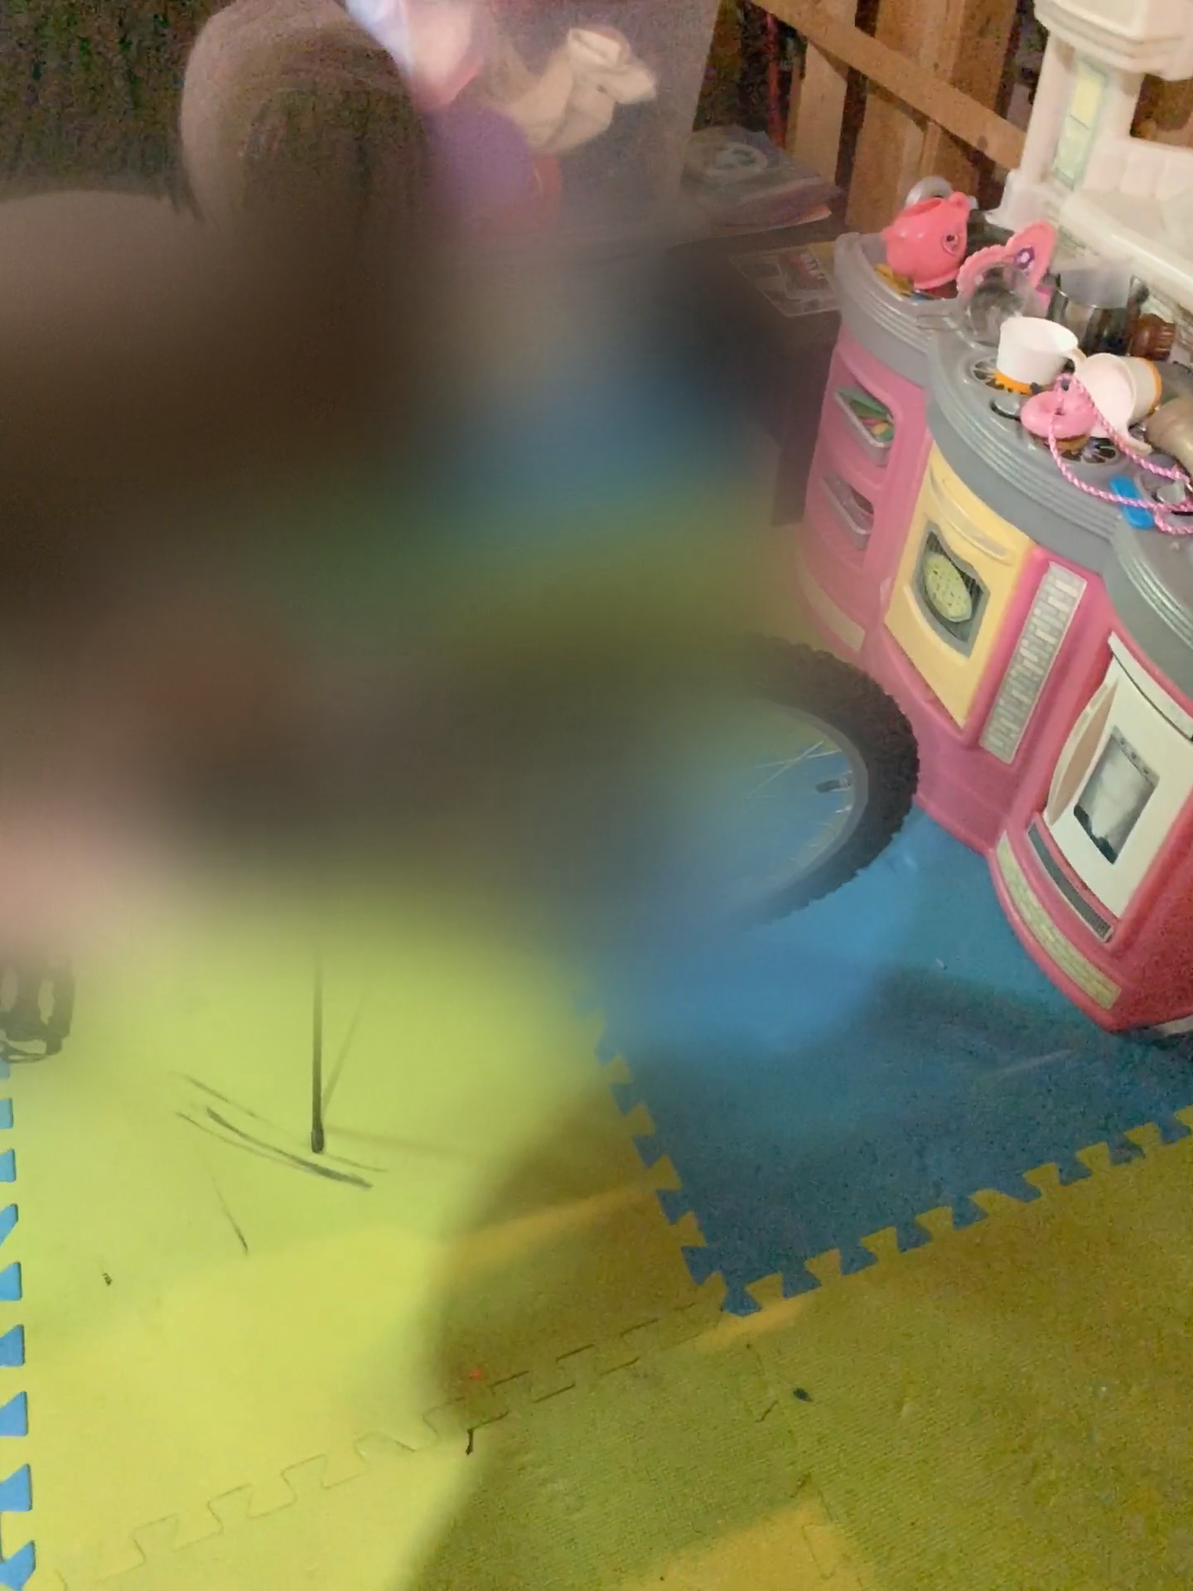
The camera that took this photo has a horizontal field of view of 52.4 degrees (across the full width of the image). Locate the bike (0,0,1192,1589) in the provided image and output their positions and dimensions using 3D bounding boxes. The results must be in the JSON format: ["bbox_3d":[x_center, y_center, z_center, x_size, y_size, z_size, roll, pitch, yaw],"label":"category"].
[{"bbox_3d":[-0.350,-0.011,0.895,1.269,0.841,0.536,-13,48,-8],"label":"bike"}]
